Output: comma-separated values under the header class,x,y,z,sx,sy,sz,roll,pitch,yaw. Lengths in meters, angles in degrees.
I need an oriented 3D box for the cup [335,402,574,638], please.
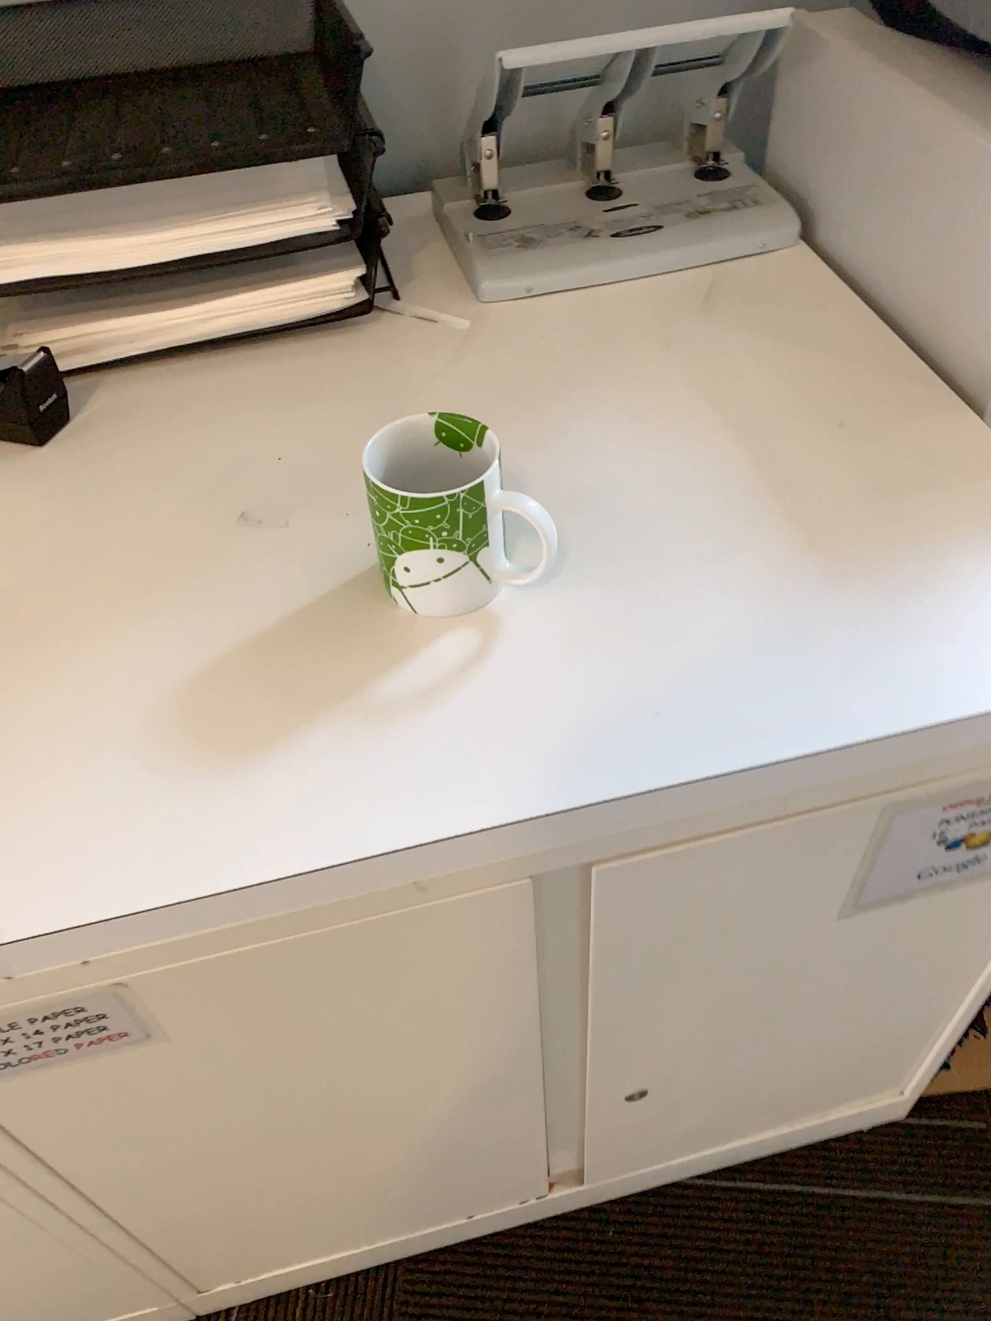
class,x,y,z,sx,sy,sz,roll,pitch,yaw
cup,-0.018,-0.079,0.569,0.110,0.090,0.080,8,49,11
